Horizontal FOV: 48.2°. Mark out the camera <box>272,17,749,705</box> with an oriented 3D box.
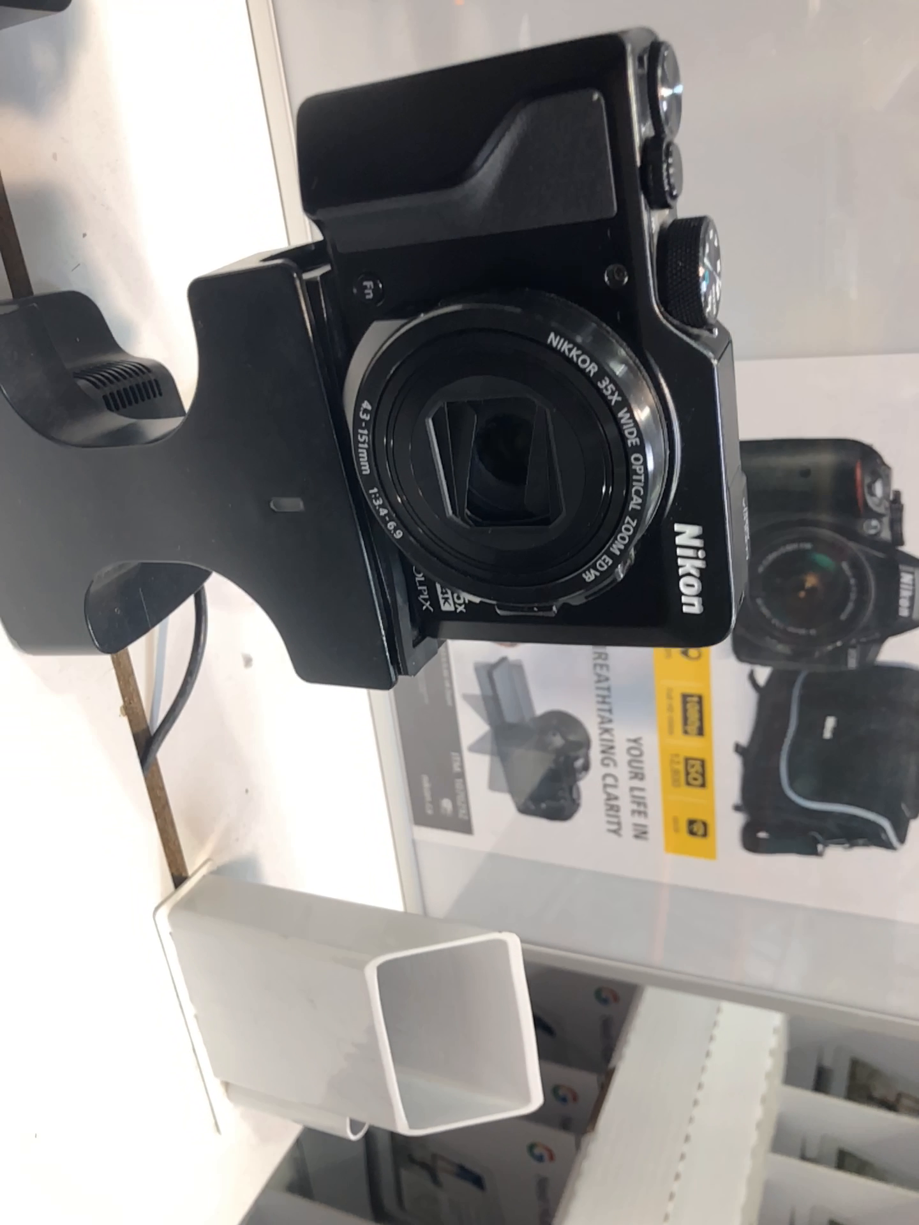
[{"bbox_3d":[0.019,-0.043,0.202,0.044,0.069,0.117,-63,148,-52],"label":"camera"}]
